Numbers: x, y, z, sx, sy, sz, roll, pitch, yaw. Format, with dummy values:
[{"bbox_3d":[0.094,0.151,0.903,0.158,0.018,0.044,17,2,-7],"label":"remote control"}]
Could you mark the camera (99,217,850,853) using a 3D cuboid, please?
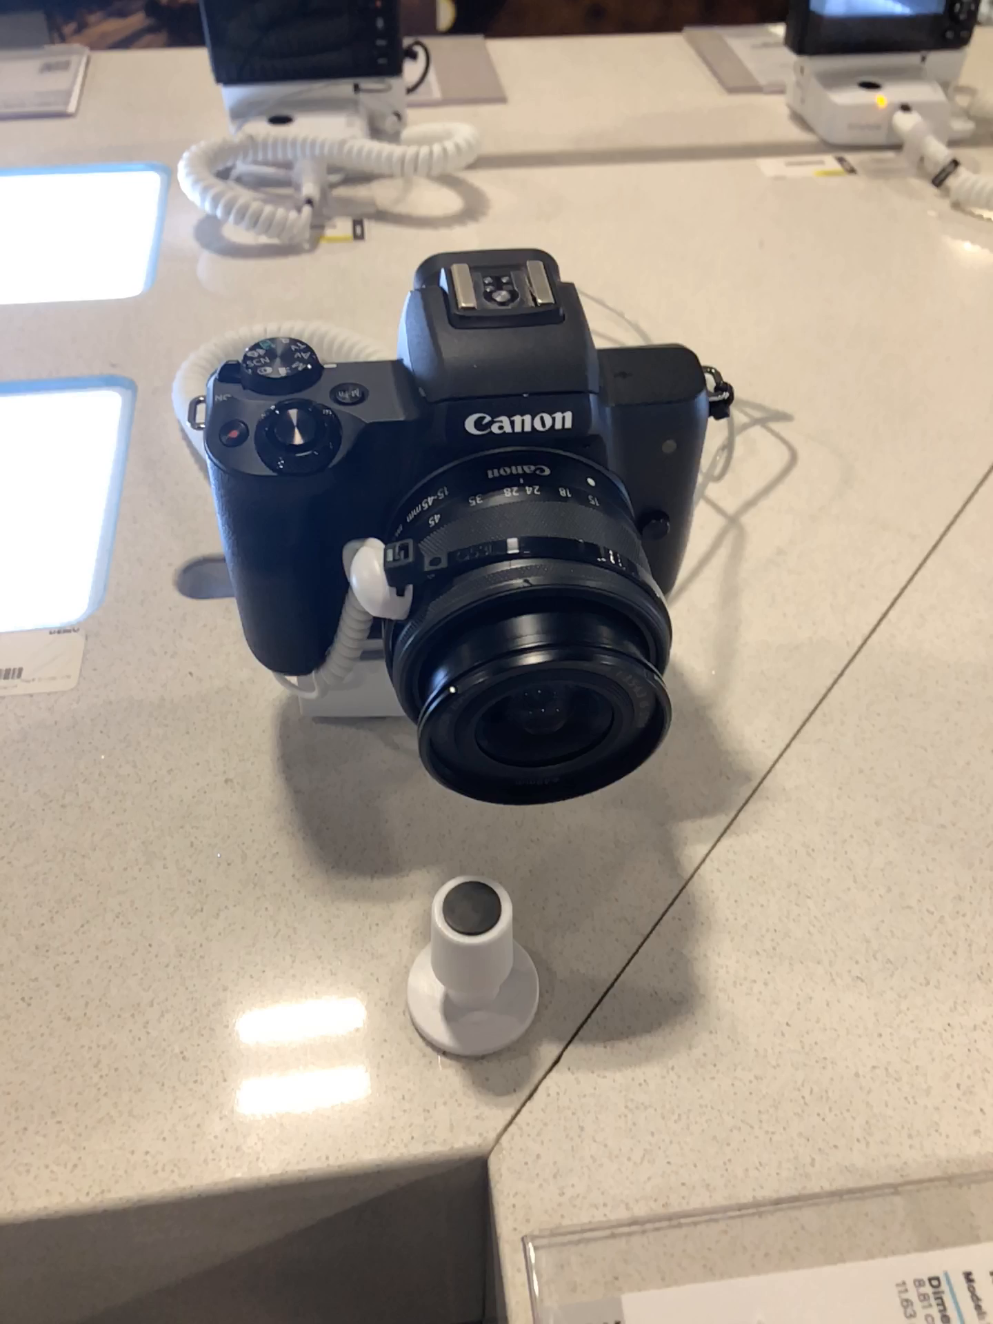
[{"bbox_3d":[-0.010,-0.035,0.259,0.130,0.080,0.121,-6,46,-6],"label":"camera"}]
